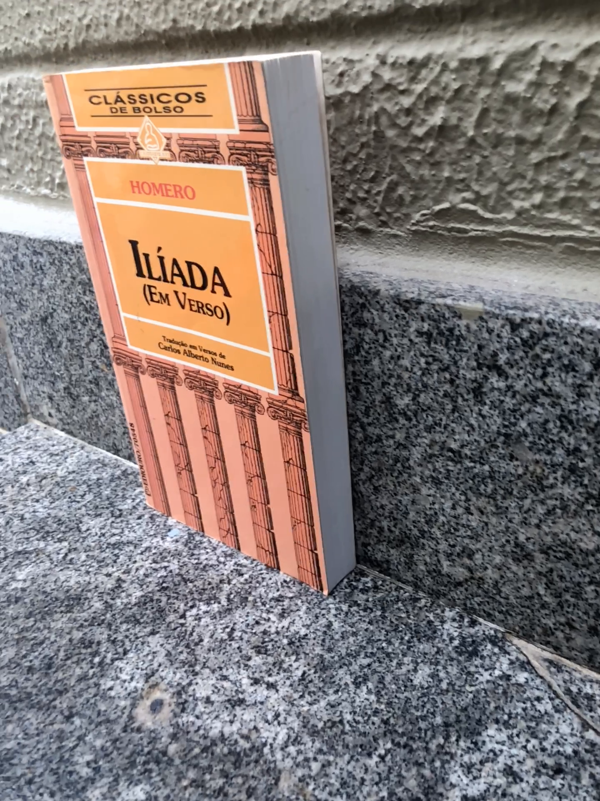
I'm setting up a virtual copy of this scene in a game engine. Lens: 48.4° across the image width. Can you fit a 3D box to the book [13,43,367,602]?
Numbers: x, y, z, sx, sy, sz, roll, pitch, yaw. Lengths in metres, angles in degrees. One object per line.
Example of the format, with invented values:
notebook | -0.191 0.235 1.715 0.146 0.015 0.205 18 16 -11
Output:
book | -0.043 -0.029 0.295 0.139 0.218 0.030 17 37 35
